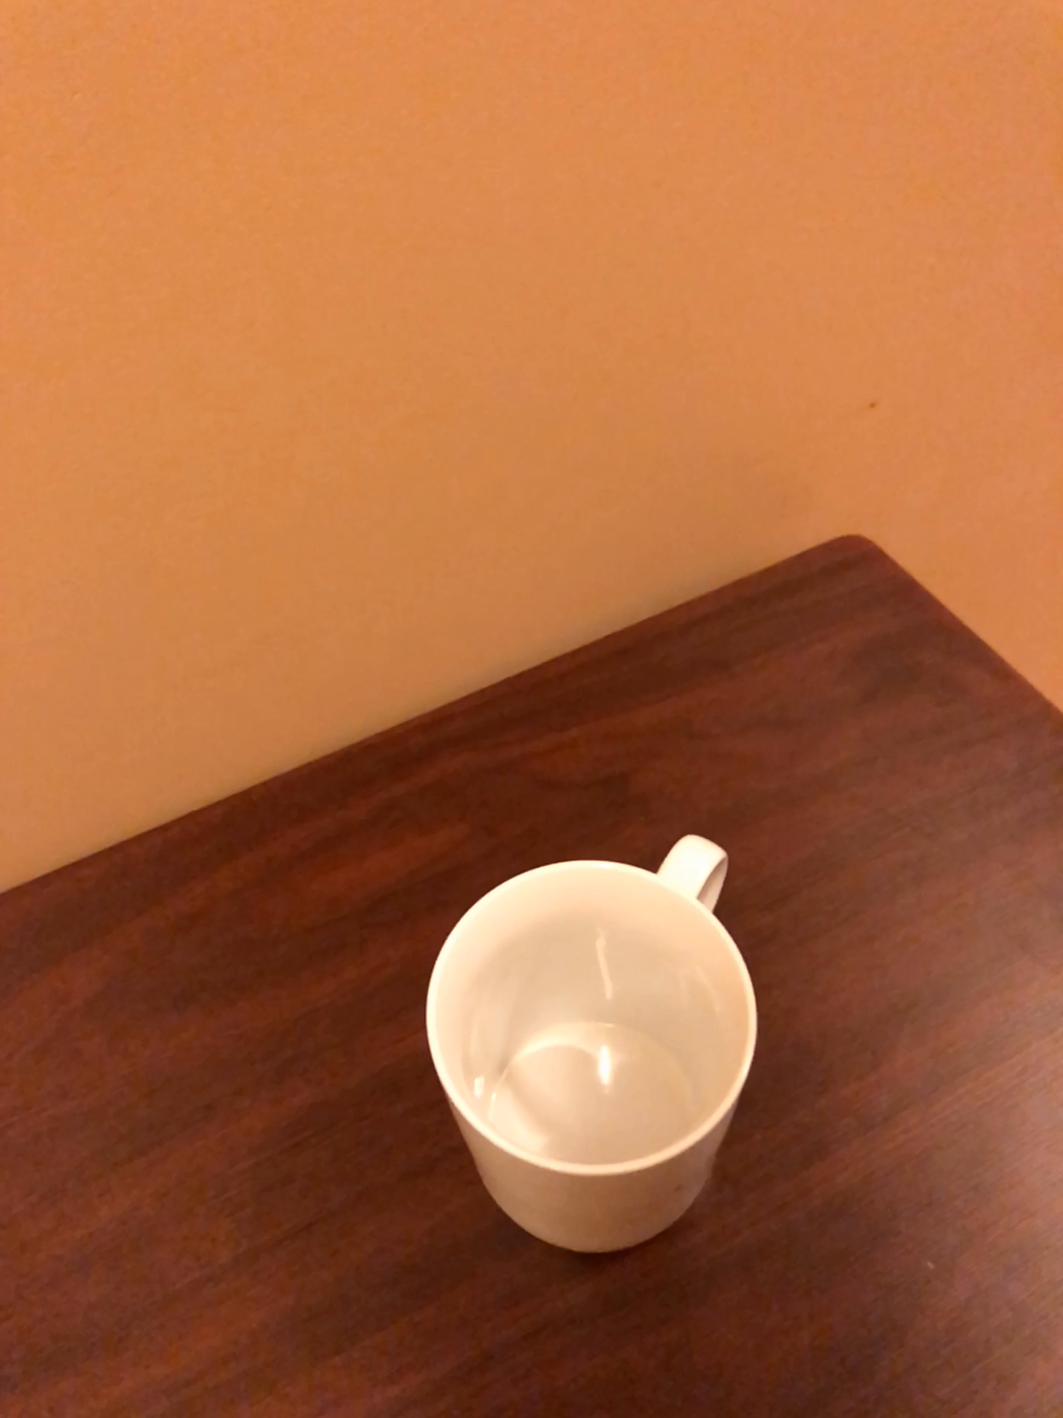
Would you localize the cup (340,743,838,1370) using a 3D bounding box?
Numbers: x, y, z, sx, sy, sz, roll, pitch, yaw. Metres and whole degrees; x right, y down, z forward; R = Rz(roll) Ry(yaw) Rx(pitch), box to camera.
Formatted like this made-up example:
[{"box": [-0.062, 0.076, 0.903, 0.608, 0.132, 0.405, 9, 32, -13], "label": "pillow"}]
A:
[{"box": [0.027, 0.112, 0.401, 0.110, 0.100, 0.150, 14, 52, 16], "label": "cup"}]
